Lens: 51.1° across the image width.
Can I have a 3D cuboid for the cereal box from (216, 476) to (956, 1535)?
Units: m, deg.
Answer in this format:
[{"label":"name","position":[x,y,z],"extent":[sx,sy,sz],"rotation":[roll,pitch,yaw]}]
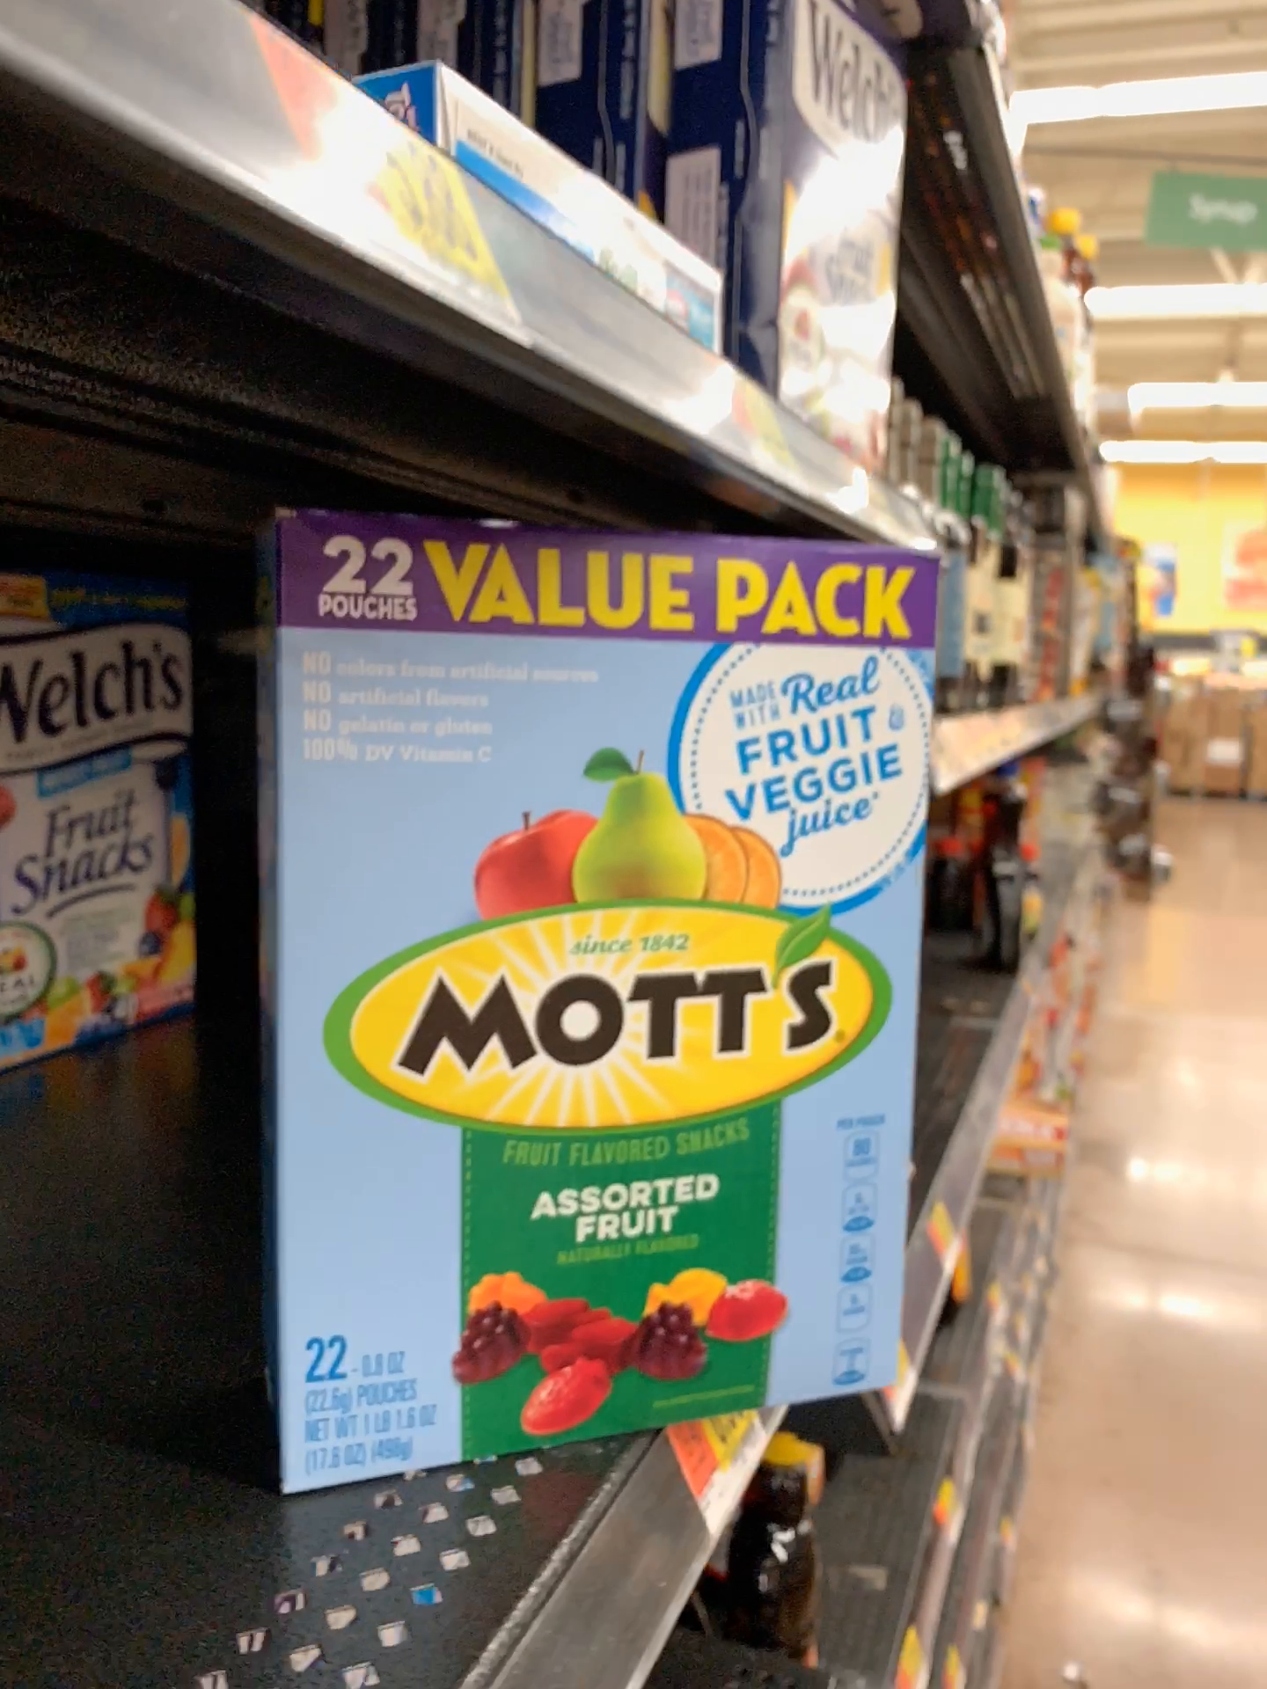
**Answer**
[{"label":"cereal box","position":[-0.015,0.036,0.353],"extent":[0.180,0.240,0.060],"rotation":[-1,7,-21]}]
